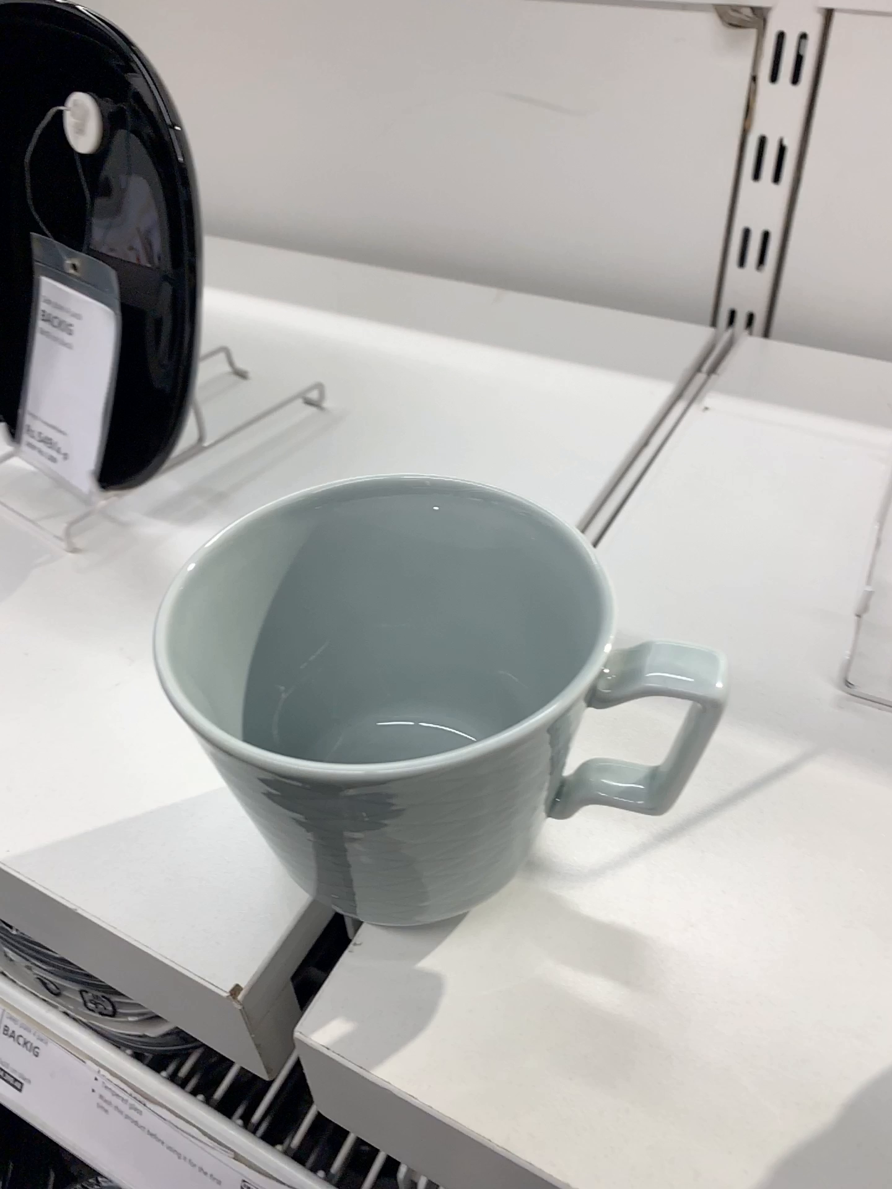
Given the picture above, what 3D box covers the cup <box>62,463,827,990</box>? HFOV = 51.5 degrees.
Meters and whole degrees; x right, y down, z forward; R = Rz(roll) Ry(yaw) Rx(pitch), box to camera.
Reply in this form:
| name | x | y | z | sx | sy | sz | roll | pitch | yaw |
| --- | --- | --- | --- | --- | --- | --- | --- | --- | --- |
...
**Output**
| name | x | y | z | sx | sy | sz | roll | pitch | yaw |
| --- | --- | --- | --- | --- | --- | --- | --- | --- | --- |
| cup | 0.000 | 0.027 | 0.218 | 0.130 | 0.070 | 0.100 | -1 | 40 | 1 |
